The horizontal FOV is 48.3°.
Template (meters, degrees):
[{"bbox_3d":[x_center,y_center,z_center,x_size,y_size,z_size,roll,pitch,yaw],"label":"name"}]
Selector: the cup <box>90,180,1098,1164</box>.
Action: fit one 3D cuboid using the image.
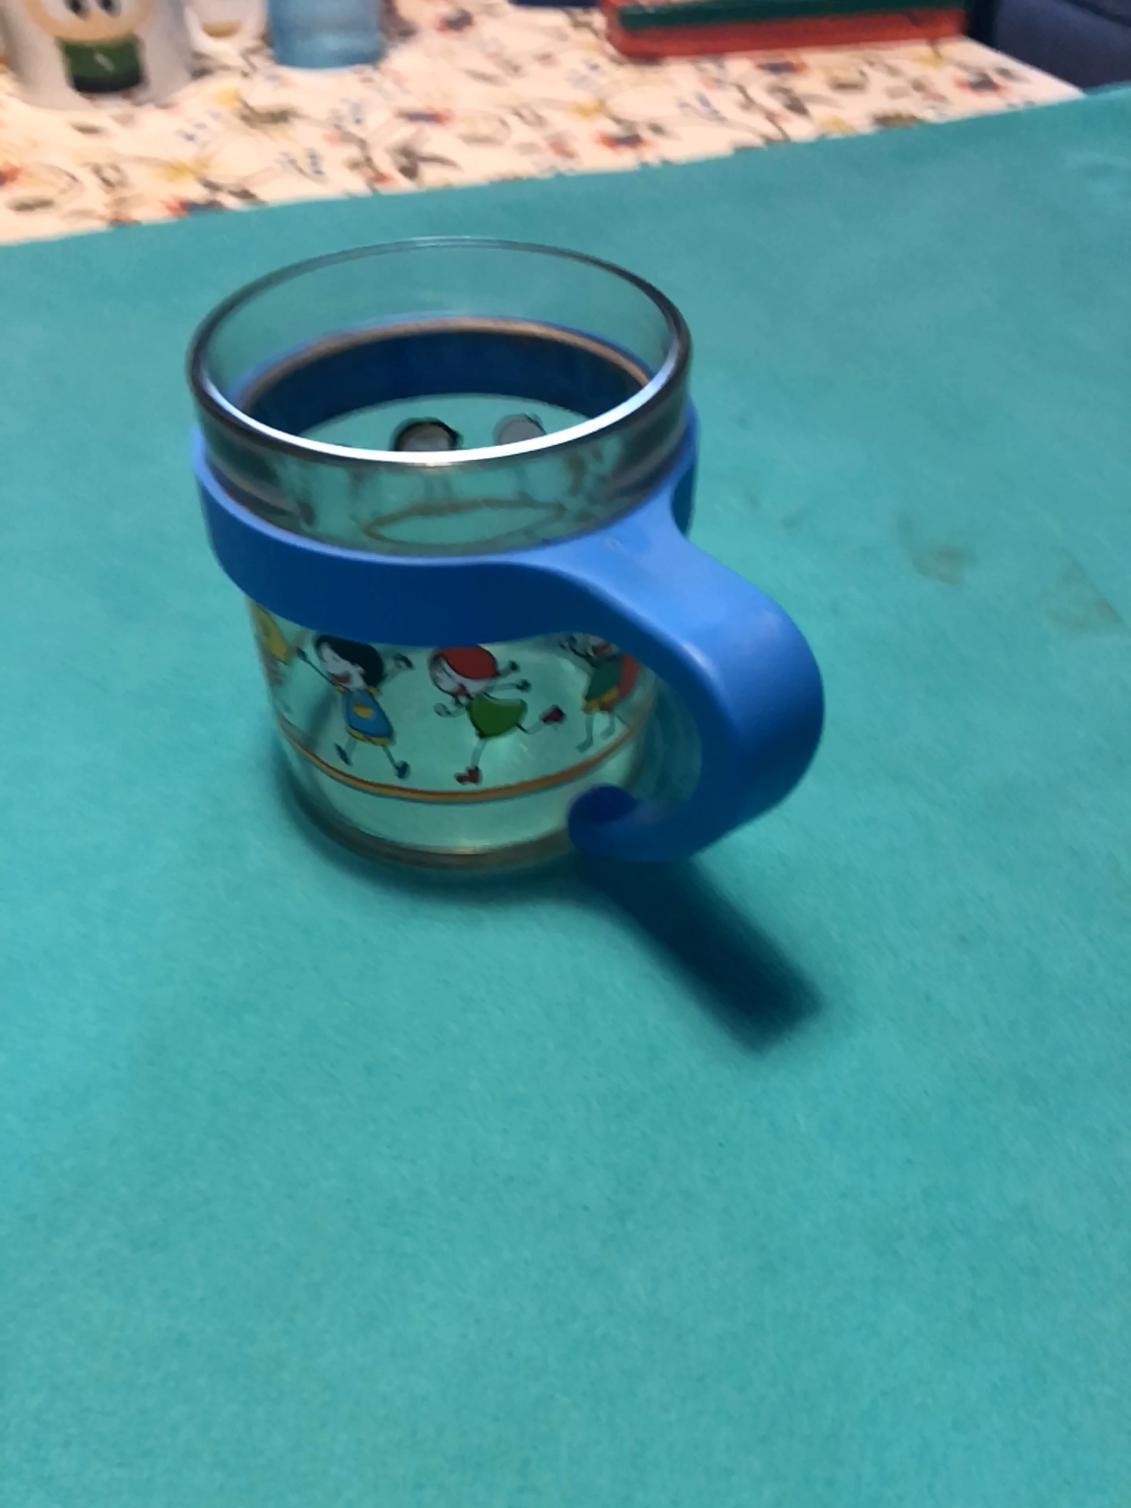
[{"bbox_3d":[-0.003,-0.025,0.219,0.090,0.089,0.131,-27,49,-25],"label":"cup"}]
